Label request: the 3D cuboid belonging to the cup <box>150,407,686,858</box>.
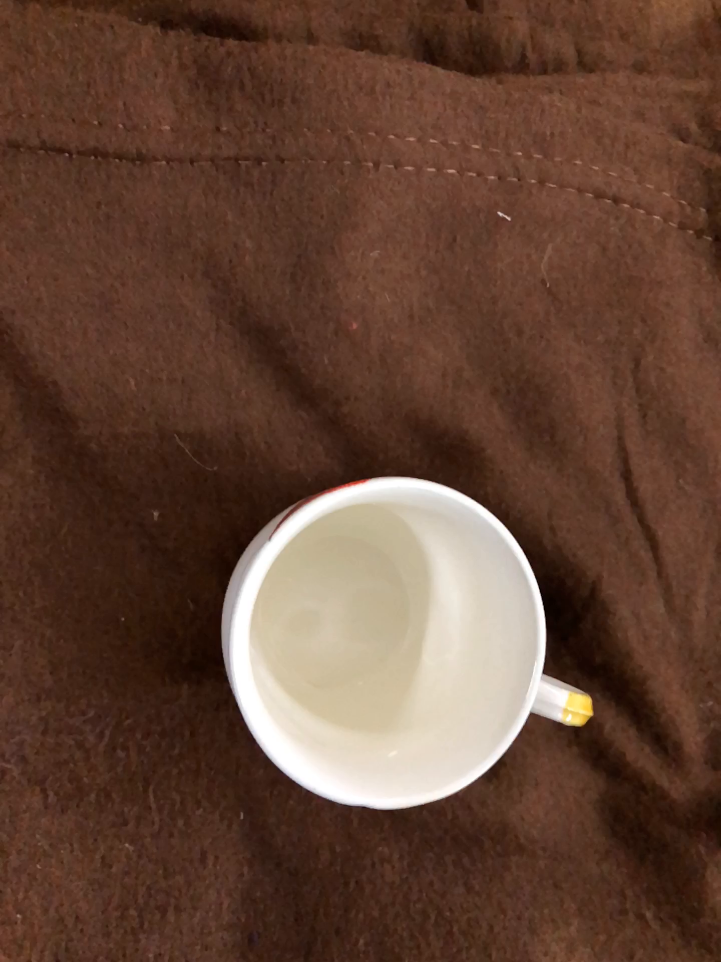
[{"bbox_3d":[0.008,0.031,0.179,0.090,0.060,0.060,20,83,-14],"label":"cup"}]
